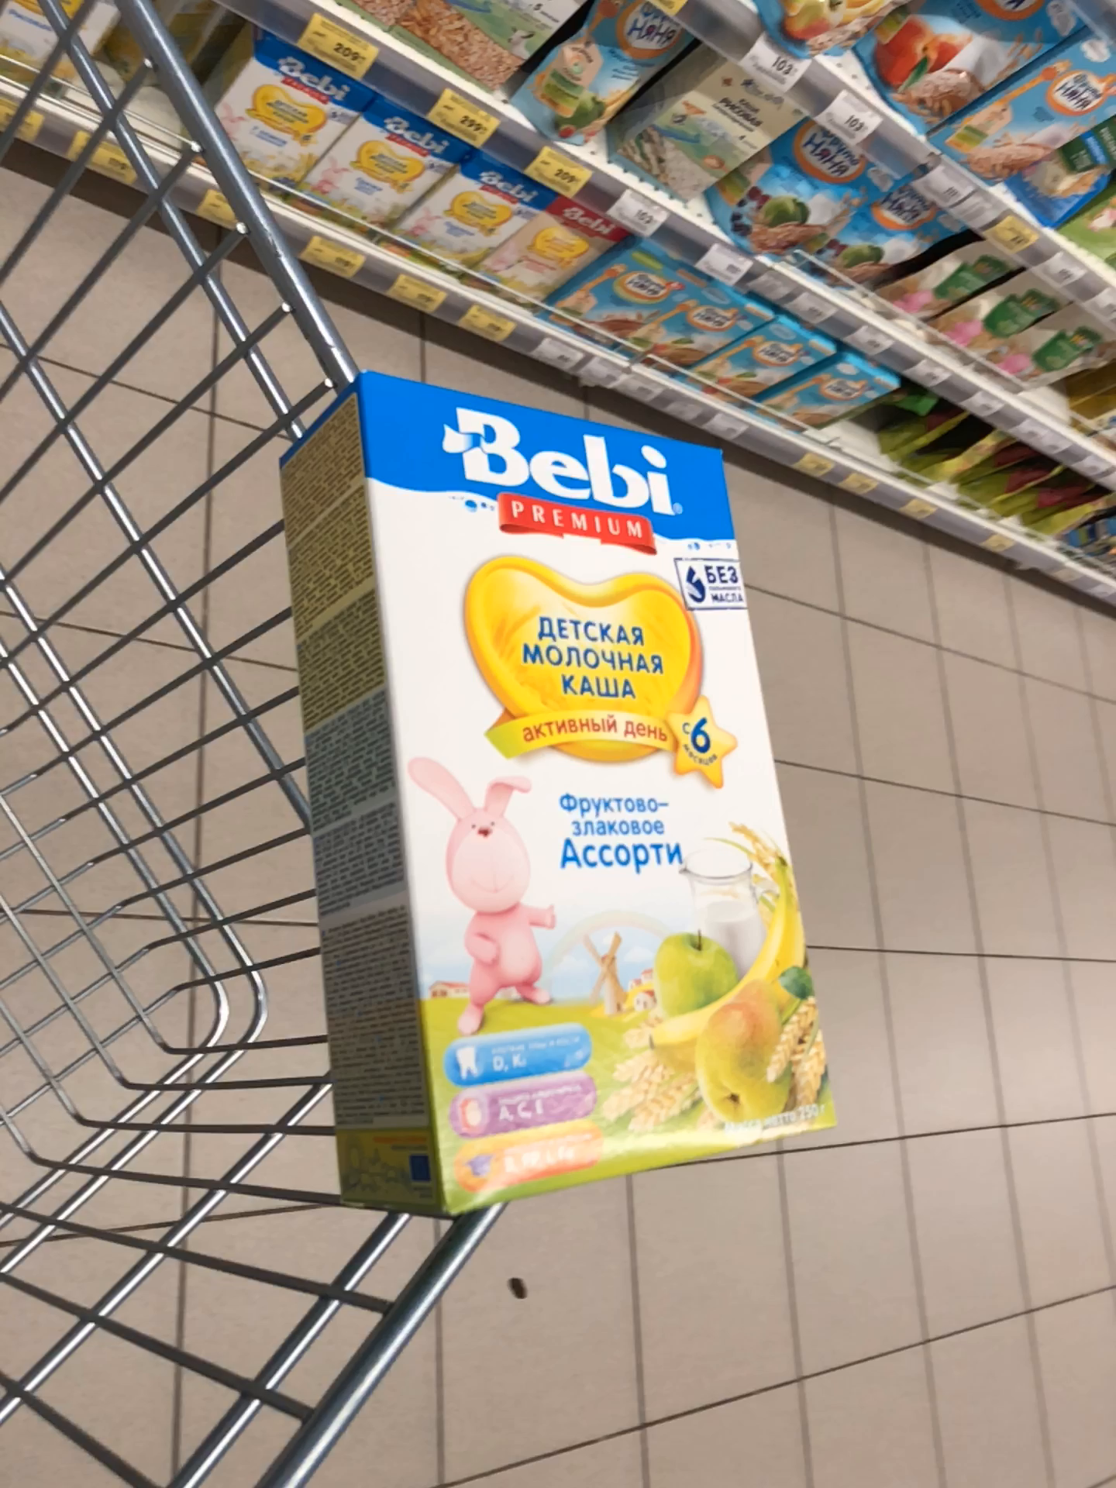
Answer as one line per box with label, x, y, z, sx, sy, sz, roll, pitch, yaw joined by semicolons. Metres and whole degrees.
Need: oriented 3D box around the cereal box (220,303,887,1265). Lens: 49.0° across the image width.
cereal box;-0.001;0.008;0.323;0.151;0.050;0.210;2;74;-35
